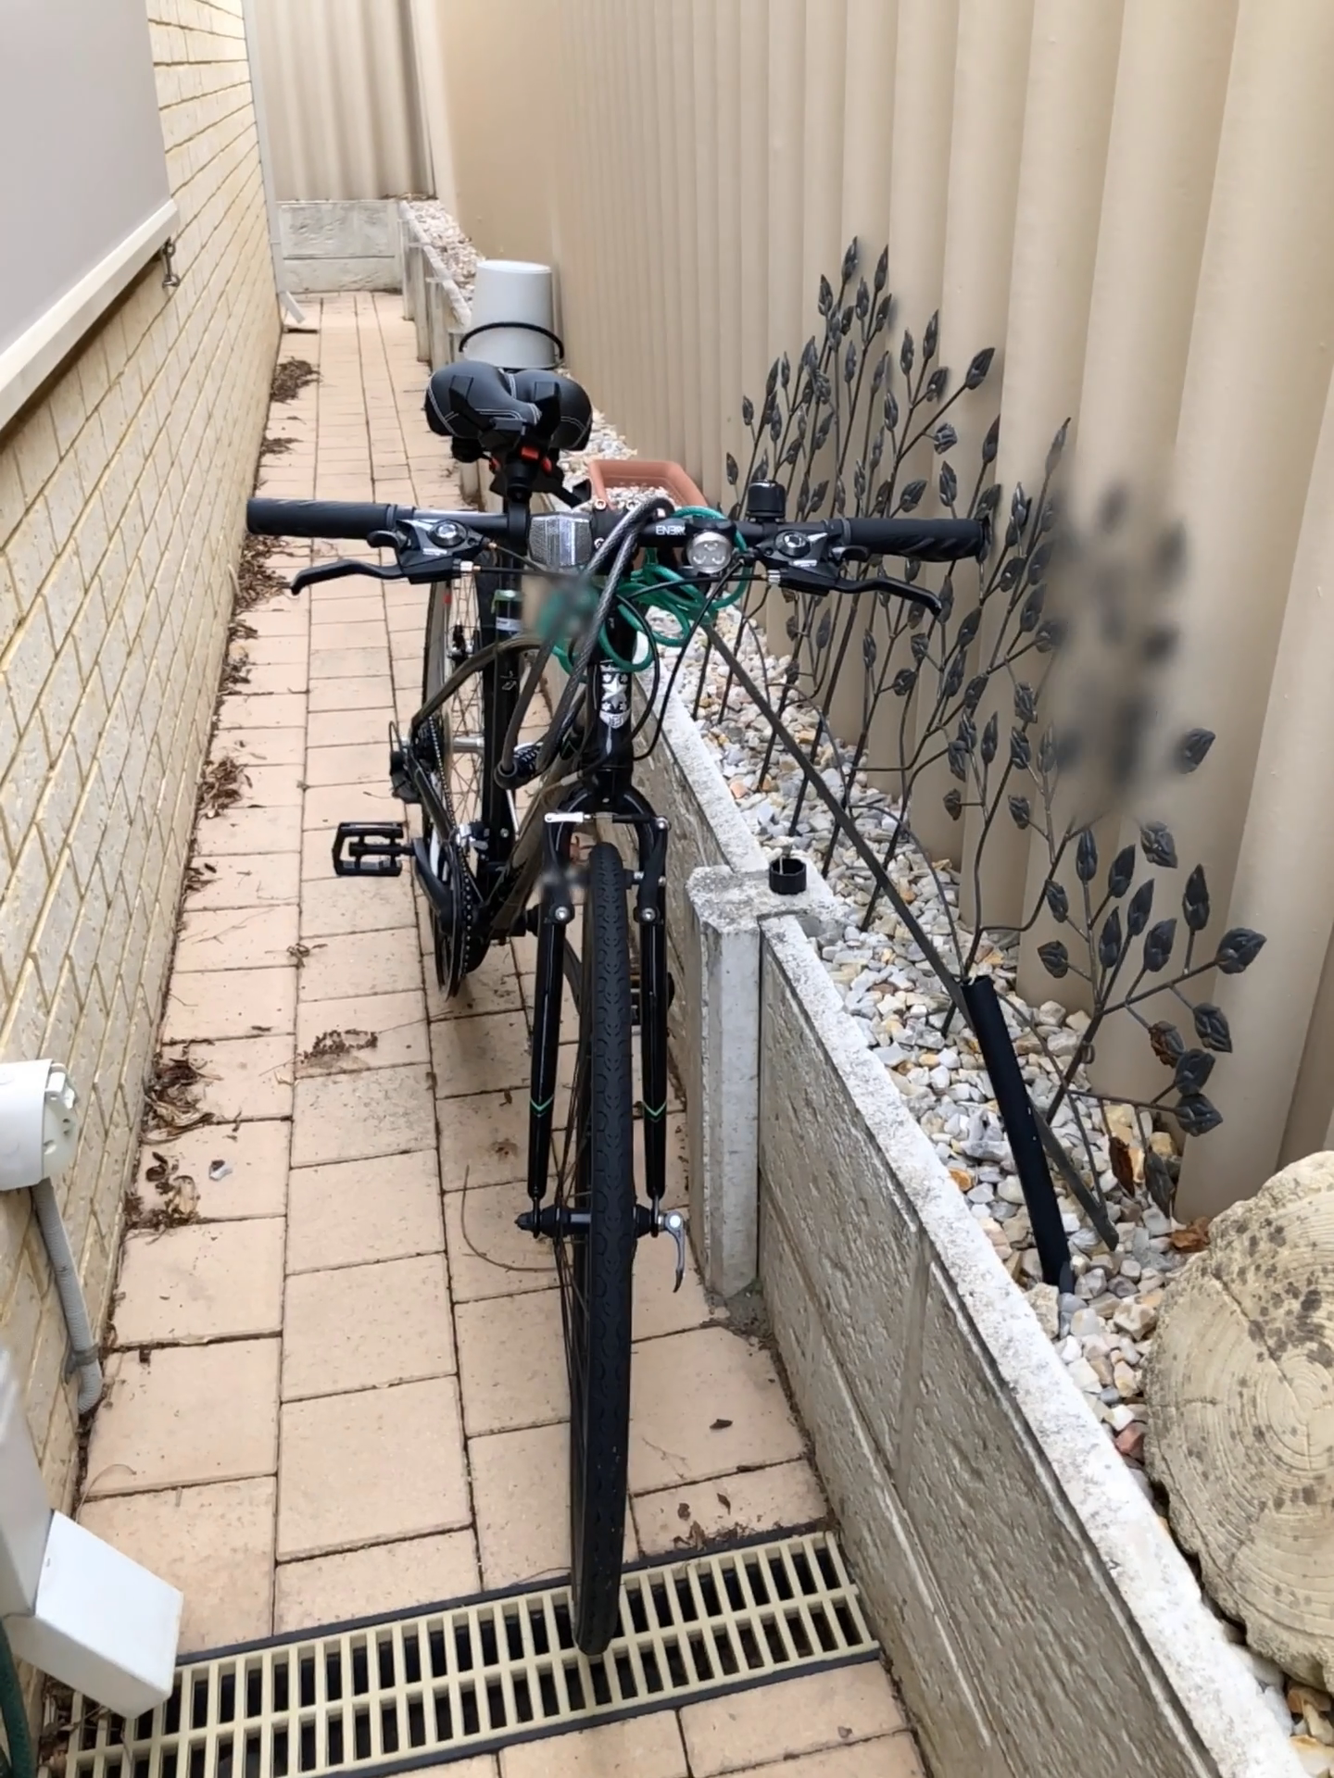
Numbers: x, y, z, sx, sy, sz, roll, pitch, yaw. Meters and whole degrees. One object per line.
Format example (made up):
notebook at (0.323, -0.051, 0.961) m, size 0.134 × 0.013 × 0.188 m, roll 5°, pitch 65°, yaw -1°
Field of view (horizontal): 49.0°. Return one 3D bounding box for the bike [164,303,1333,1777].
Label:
bike at (-0.100, -0.095, 1.675) m, size 0.638 × 0.859 × 1.707 m, roll -6°, pitch 29°, yaw -11°
